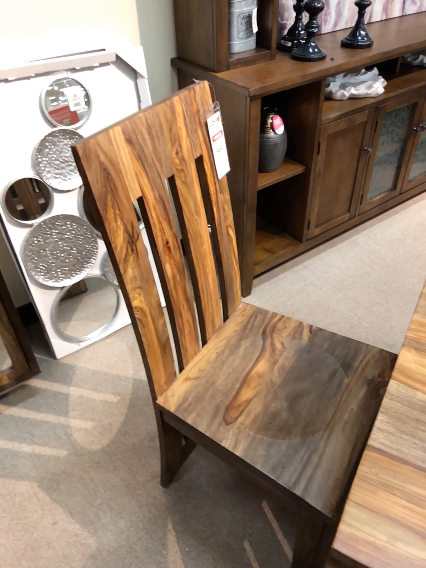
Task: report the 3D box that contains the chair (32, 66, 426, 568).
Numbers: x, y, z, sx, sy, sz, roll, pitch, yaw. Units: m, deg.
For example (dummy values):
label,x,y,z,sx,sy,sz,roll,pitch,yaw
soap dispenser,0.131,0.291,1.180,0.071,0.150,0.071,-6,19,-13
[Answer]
label,x,y,z,sx,sy,sz,roll,pitch,yaw
chair,0.120,0.146,1.075,0.591,1.023,0.512,22,45,25
